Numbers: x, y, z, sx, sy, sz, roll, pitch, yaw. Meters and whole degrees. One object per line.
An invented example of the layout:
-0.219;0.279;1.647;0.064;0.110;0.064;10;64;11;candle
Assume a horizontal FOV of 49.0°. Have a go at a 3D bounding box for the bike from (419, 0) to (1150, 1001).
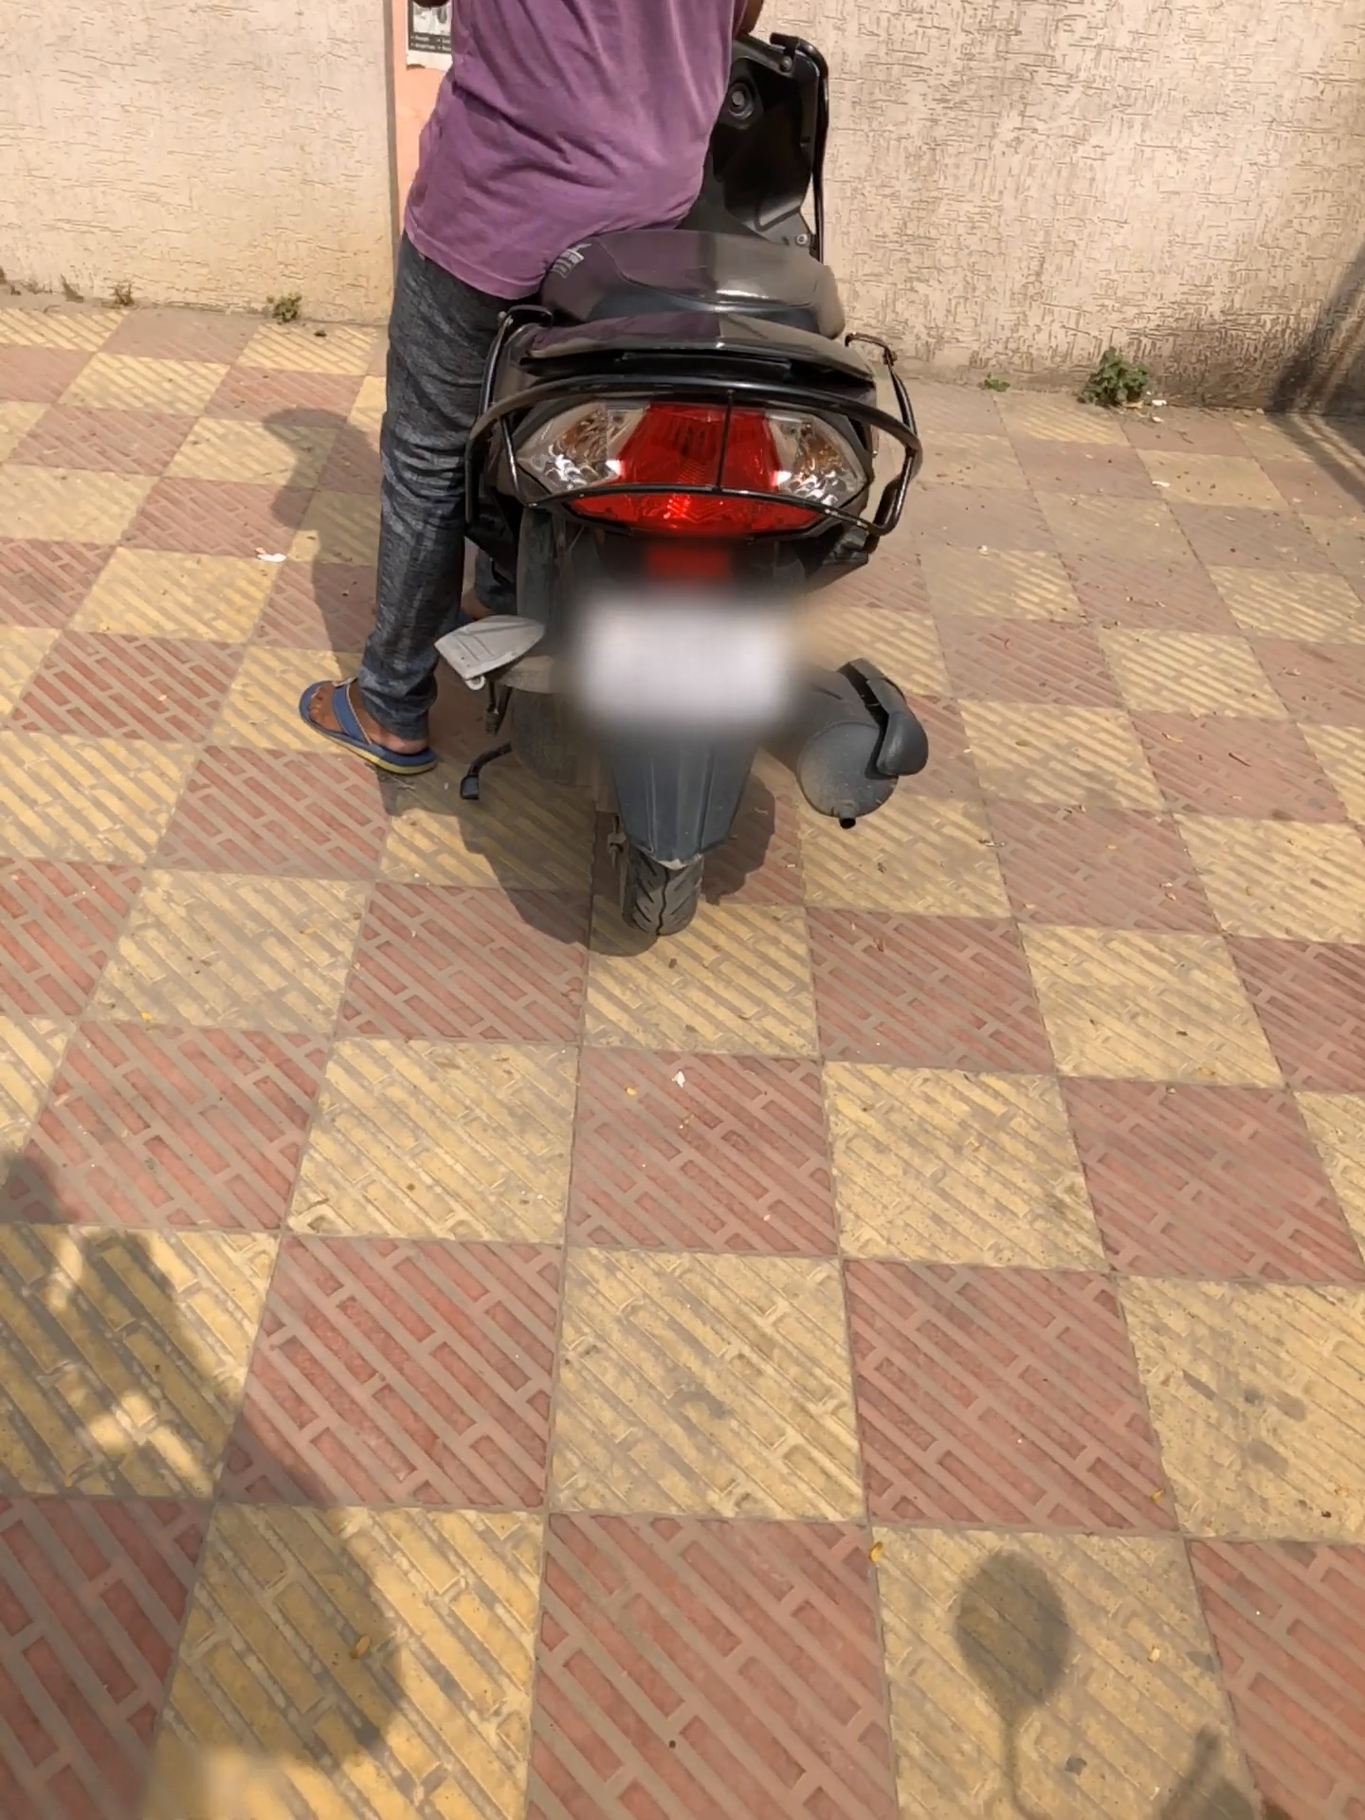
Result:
-0.046;-0.743;2.067;0.574;0.987;1.514;0;38;-8;bike
